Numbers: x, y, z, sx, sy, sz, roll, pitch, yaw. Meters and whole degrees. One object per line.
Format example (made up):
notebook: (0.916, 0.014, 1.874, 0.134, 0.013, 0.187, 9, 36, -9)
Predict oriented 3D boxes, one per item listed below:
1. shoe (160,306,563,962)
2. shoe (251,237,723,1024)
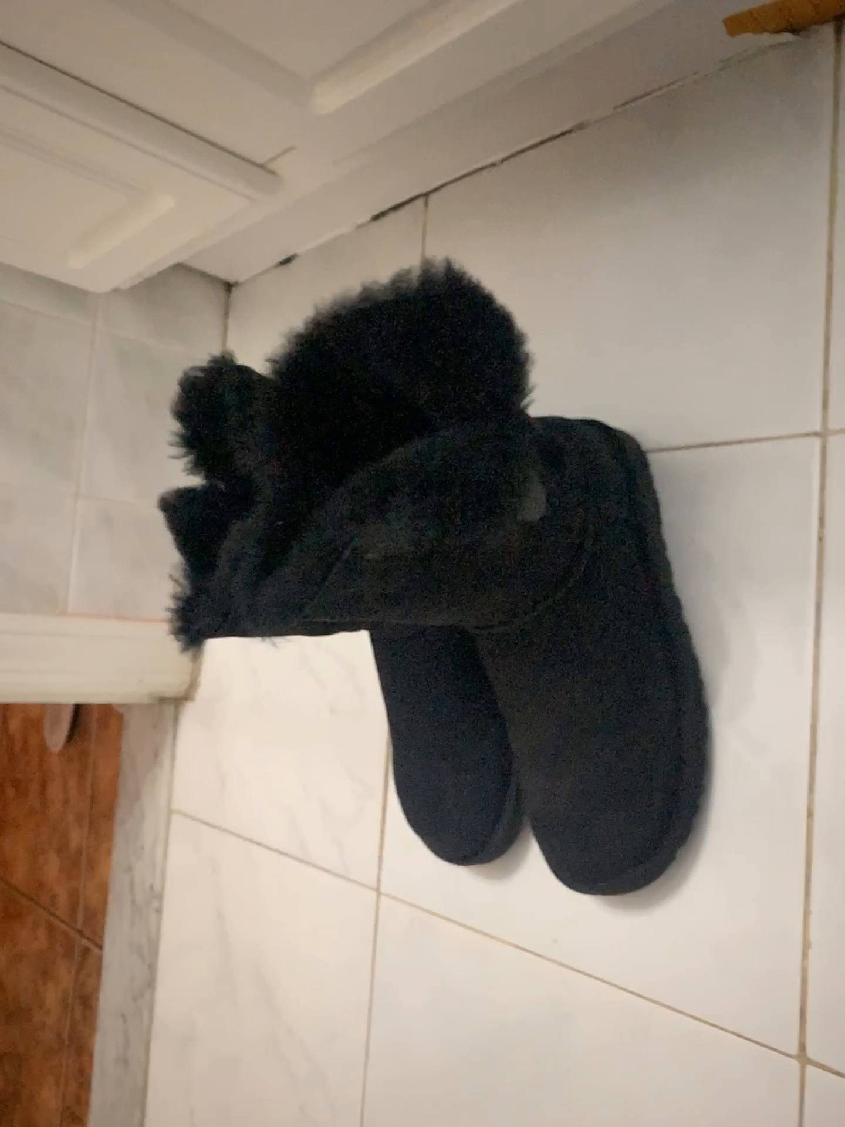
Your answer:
shoe: (-0.037, 0.039, 0.484, 0.121, 0.169, 0.290, -16, 74, 44)
shoe: (0.031, 0.030, 0.414, 0.111, 0.189, 0.280, -13, 76, 45)
